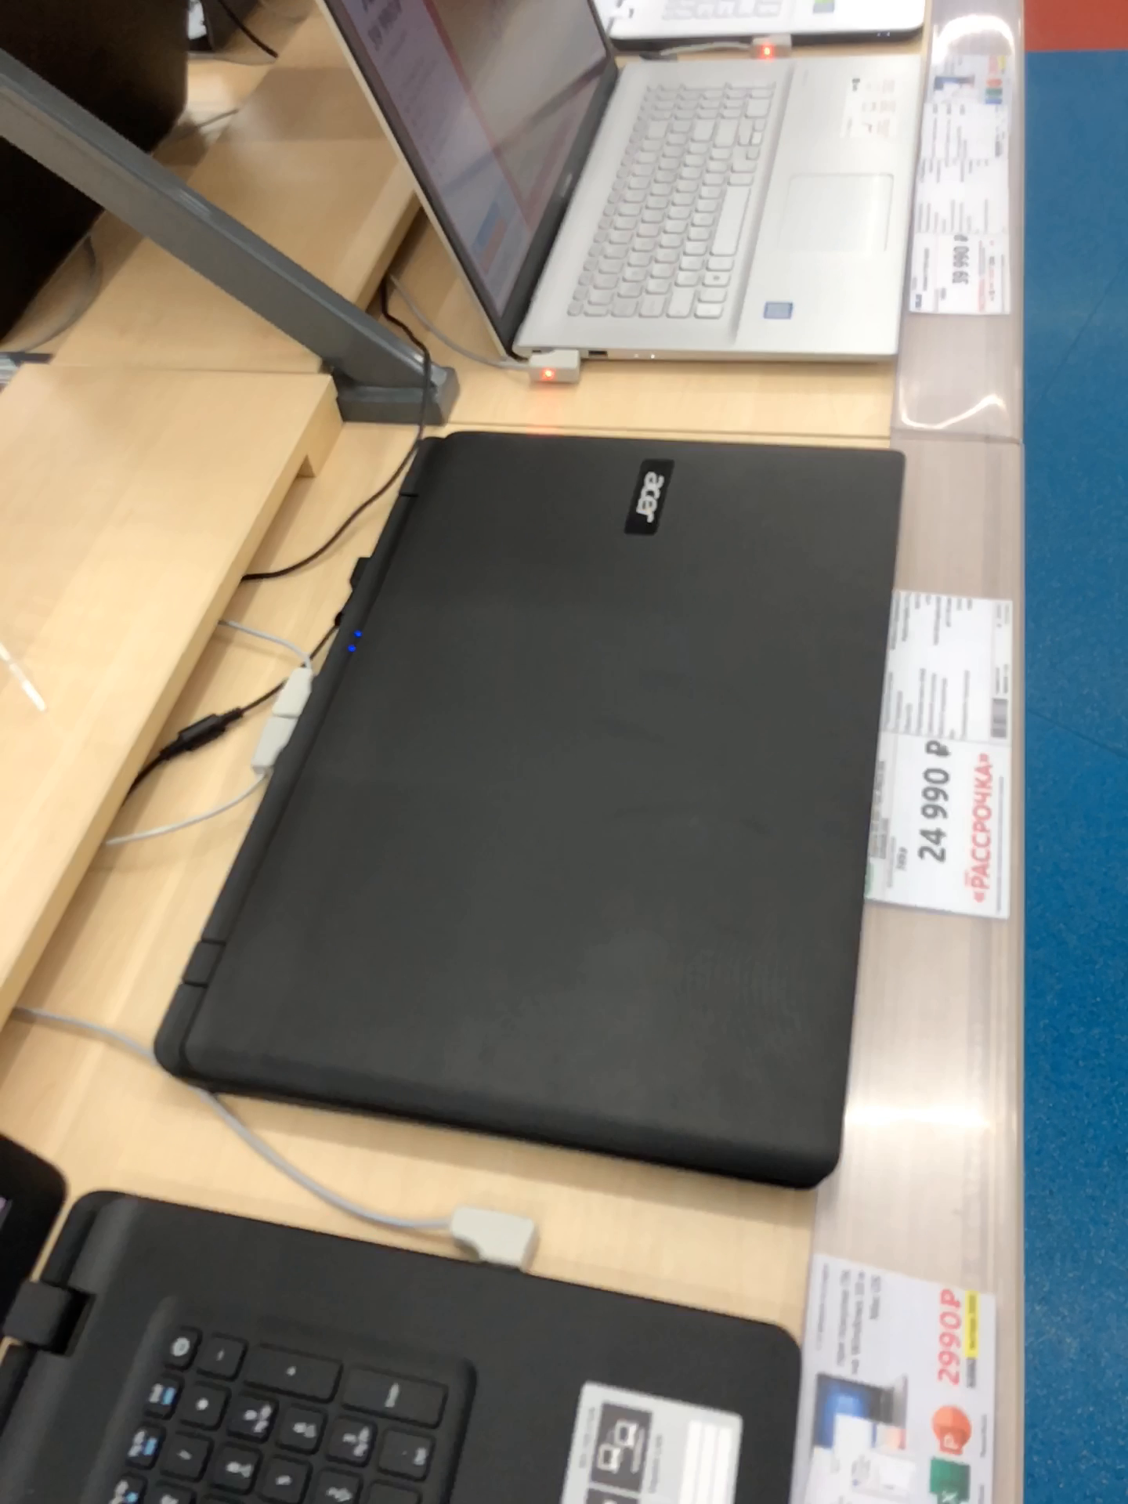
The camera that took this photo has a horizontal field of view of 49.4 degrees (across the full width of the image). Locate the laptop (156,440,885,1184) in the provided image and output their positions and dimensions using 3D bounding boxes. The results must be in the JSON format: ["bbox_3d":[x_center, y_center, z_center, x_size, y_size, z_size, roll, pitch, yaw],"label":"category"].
[{"bbox_3d":[0.006,-0.017,0.604,0.277,0.005,0.411,5,53,13],"label":"laptop"}]
